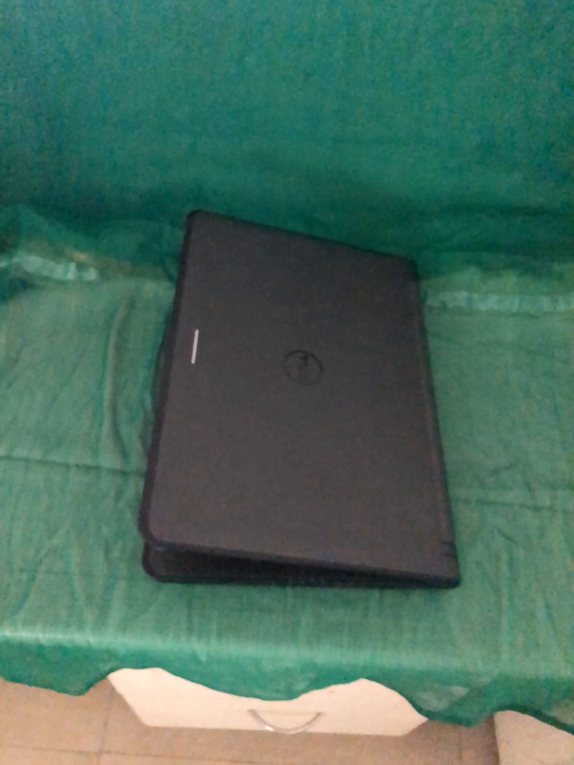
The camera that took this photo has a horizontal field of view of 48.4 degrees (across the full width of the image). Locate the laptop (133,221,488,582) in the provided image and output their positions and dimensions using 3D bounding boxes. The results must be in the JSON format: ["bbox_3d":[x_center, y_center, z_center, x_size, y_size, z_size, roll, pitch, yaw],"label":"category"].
[{"bbox_3d":[0.016,-0.001,0.527,0.229,0.064,0.307,2,54,-2],"label":"laptop"}]
